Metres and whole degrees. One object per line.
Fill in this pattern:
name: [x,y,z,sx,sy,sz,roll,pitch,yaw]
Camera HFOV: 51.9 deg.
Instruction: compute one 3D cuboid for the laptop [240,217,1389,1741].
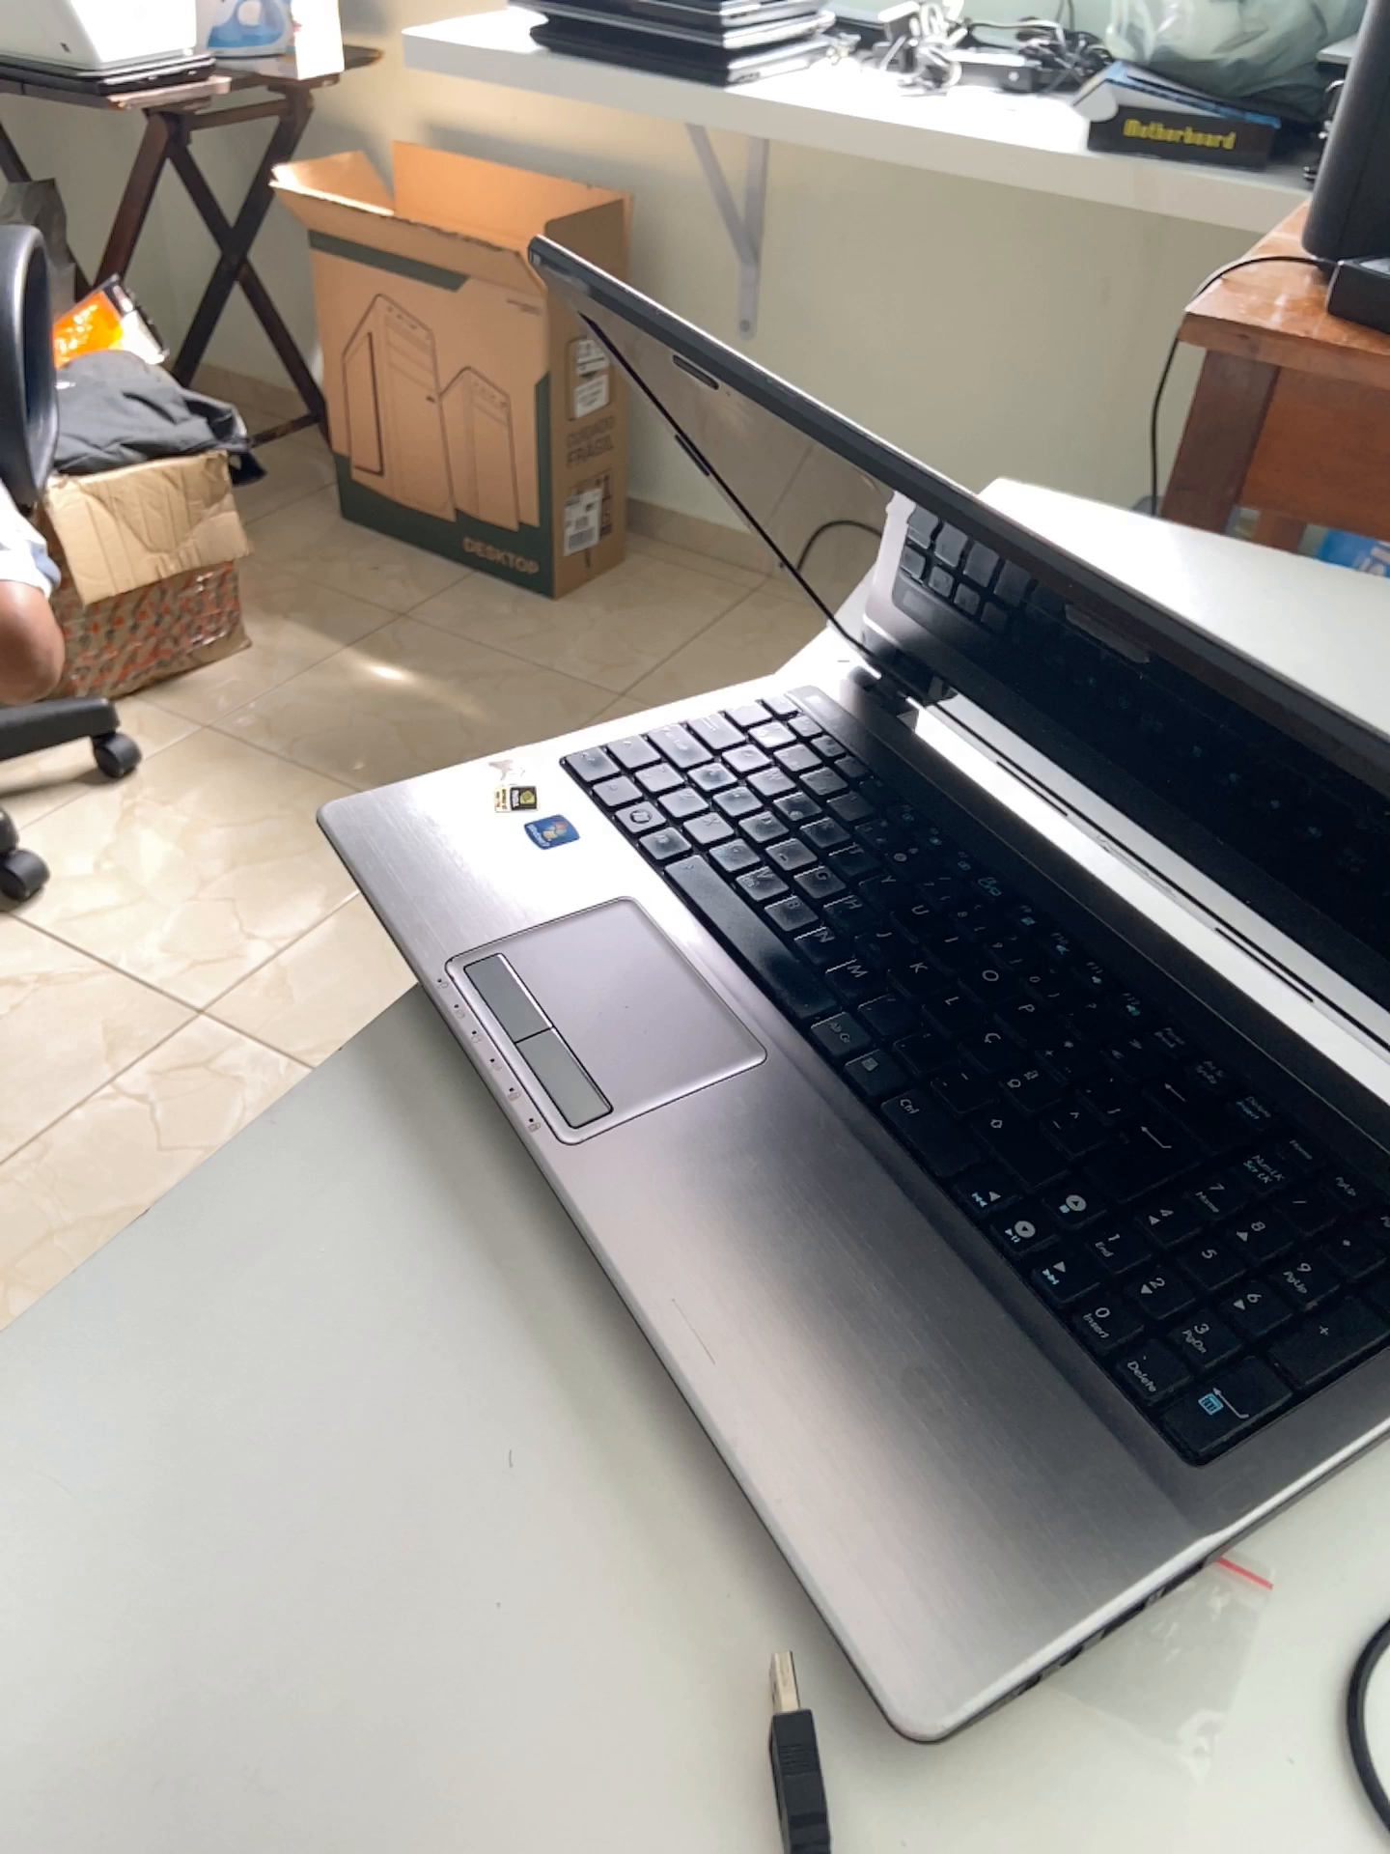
laptop: [0.059,-0.047,0.414,0.246,0.182,0.378,-19,44,-24]
